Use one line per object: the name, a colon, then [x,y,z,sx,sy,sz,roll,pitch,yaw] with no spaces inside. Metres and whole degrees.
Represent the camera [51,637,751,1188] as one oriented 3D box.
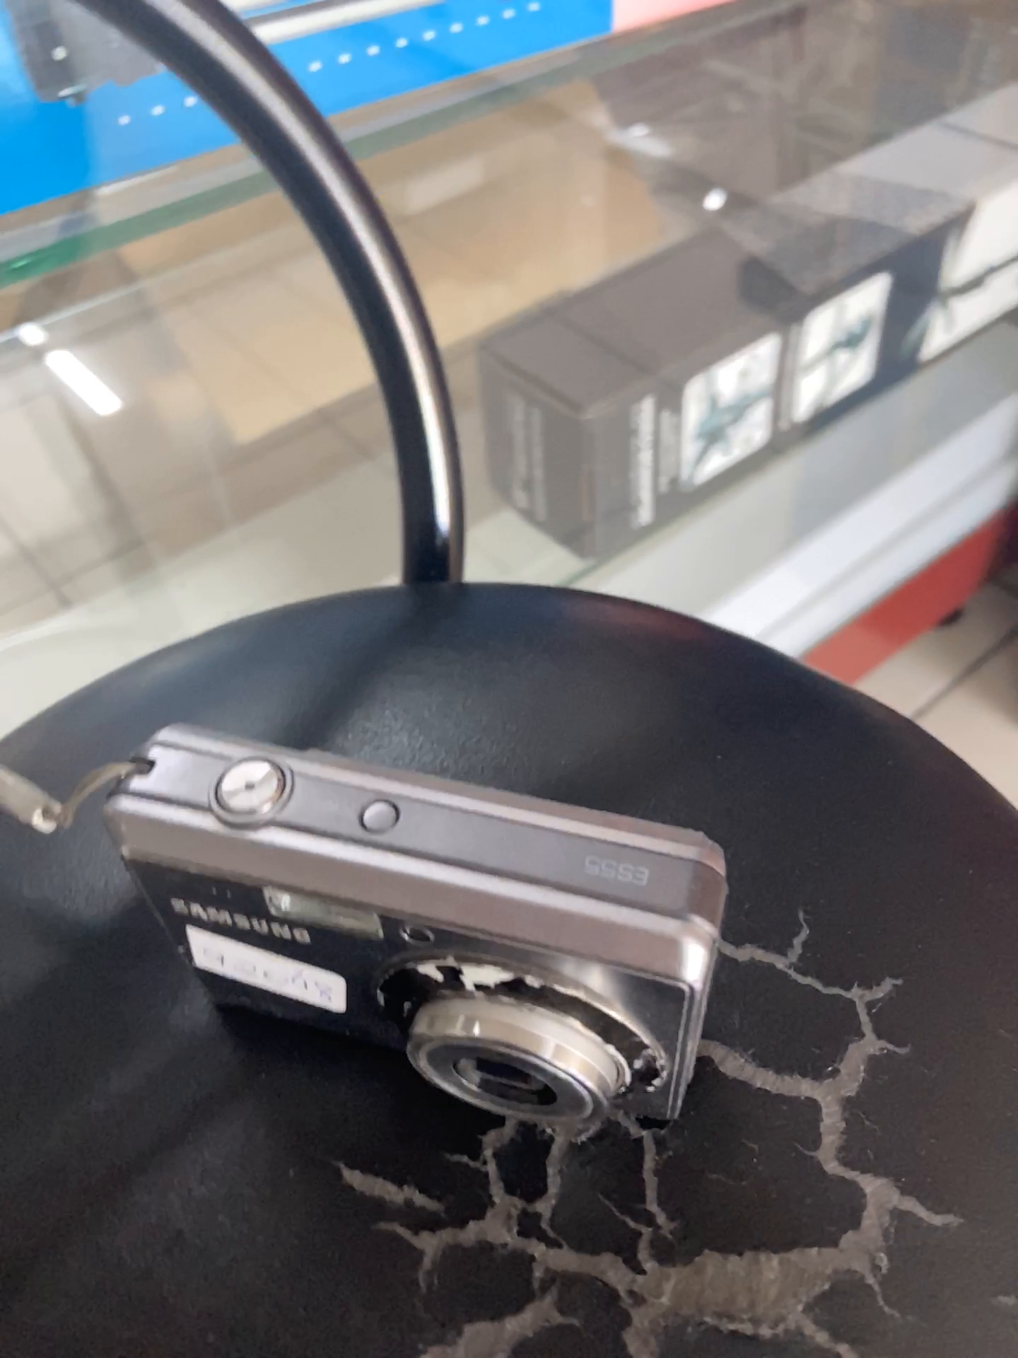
camera: [-0.013,0.039,0.175,0.090,0.070,0.040,11,50,13]
